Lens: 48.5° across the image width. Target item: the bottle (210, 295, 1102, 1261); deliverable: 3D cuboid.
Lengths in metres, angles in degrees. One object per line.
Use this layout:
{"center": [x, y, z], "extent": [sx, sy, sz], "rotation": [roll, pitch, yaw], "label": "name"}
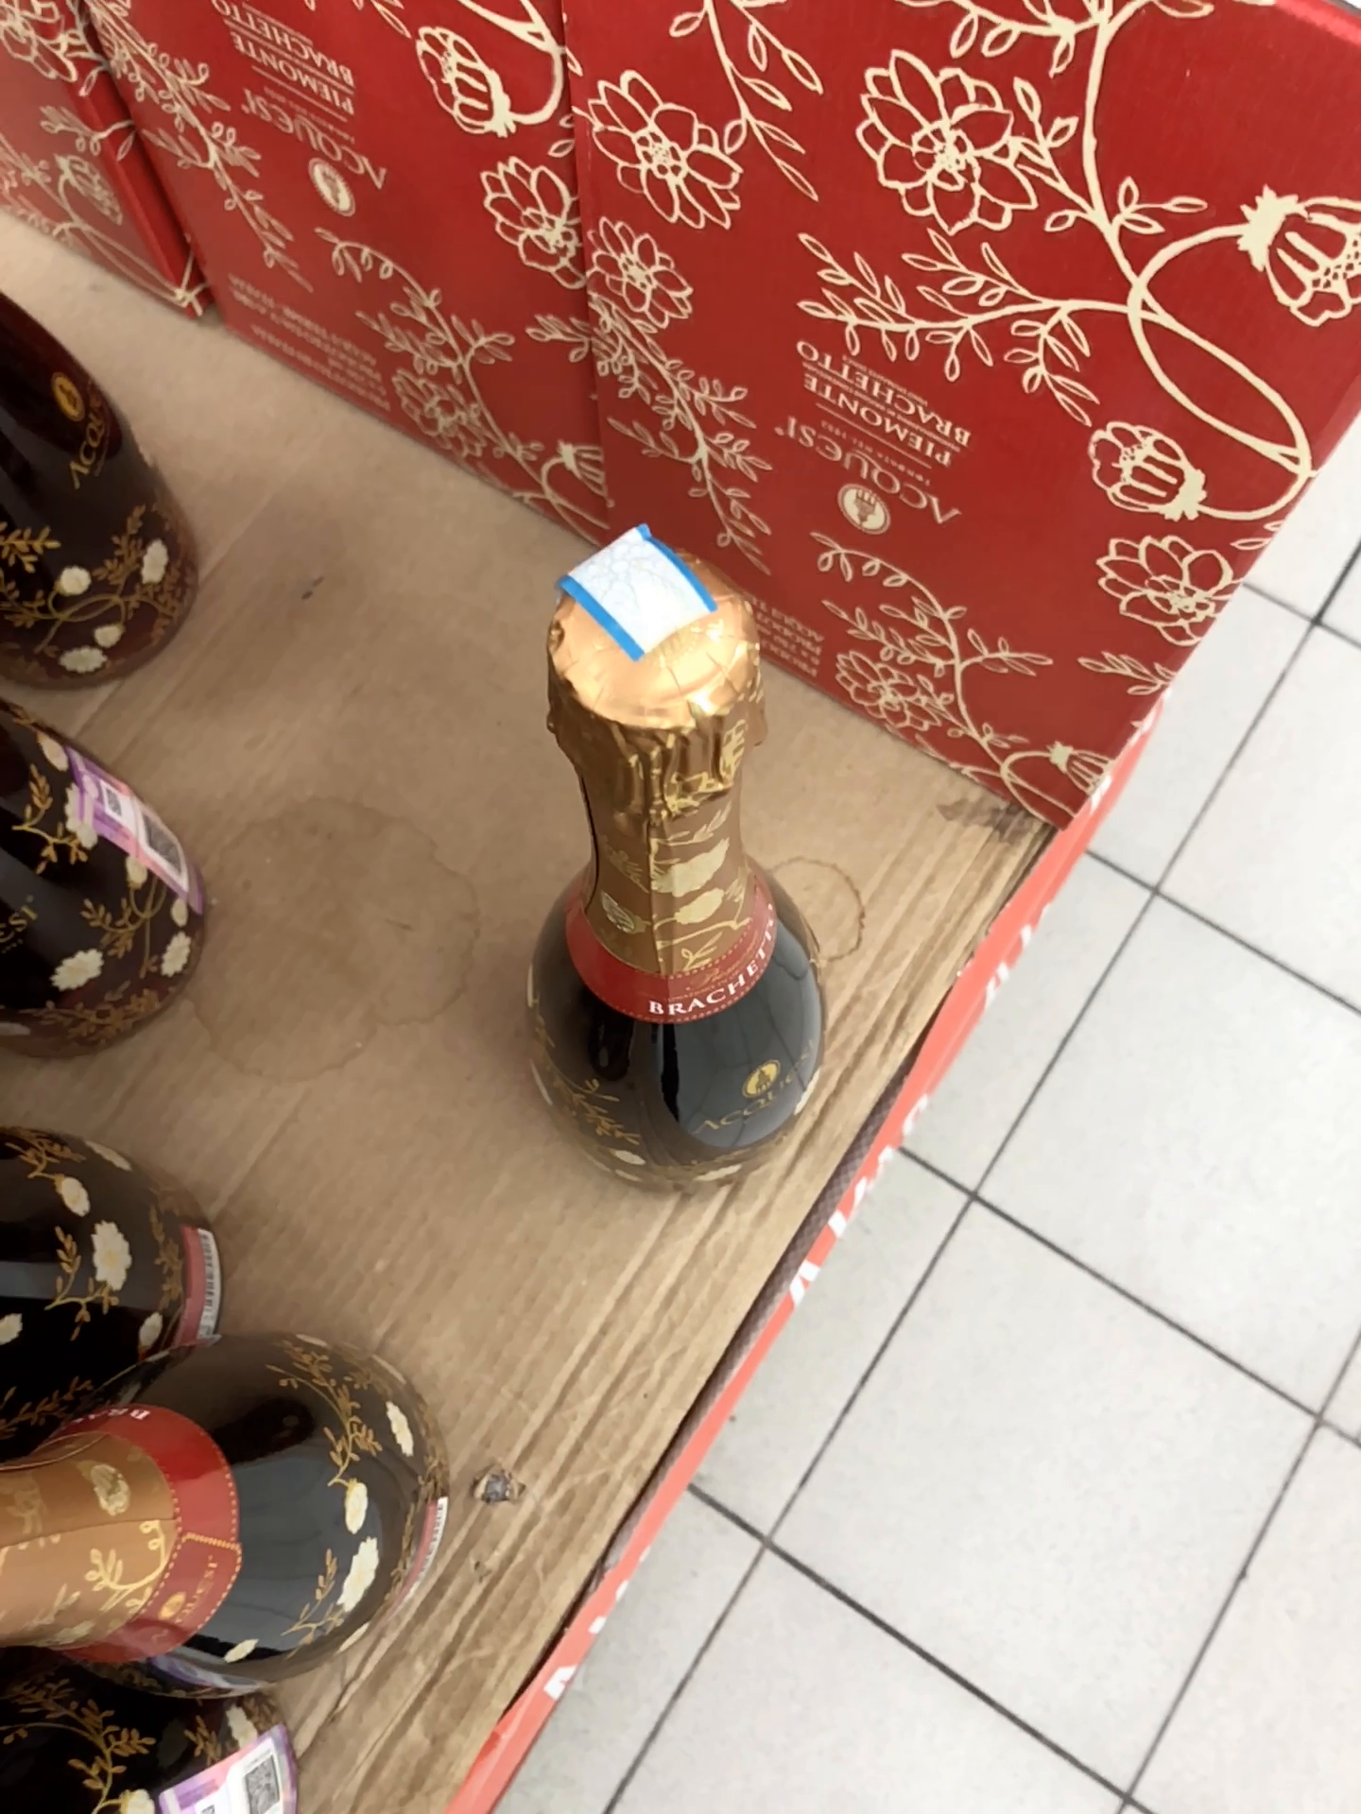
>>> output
{"center": [-0.003, 0.004, 0.370], "extent": [0.100, 0.280, 0.100], "rotation": [0, 72, 1], "label": "bottle"}
